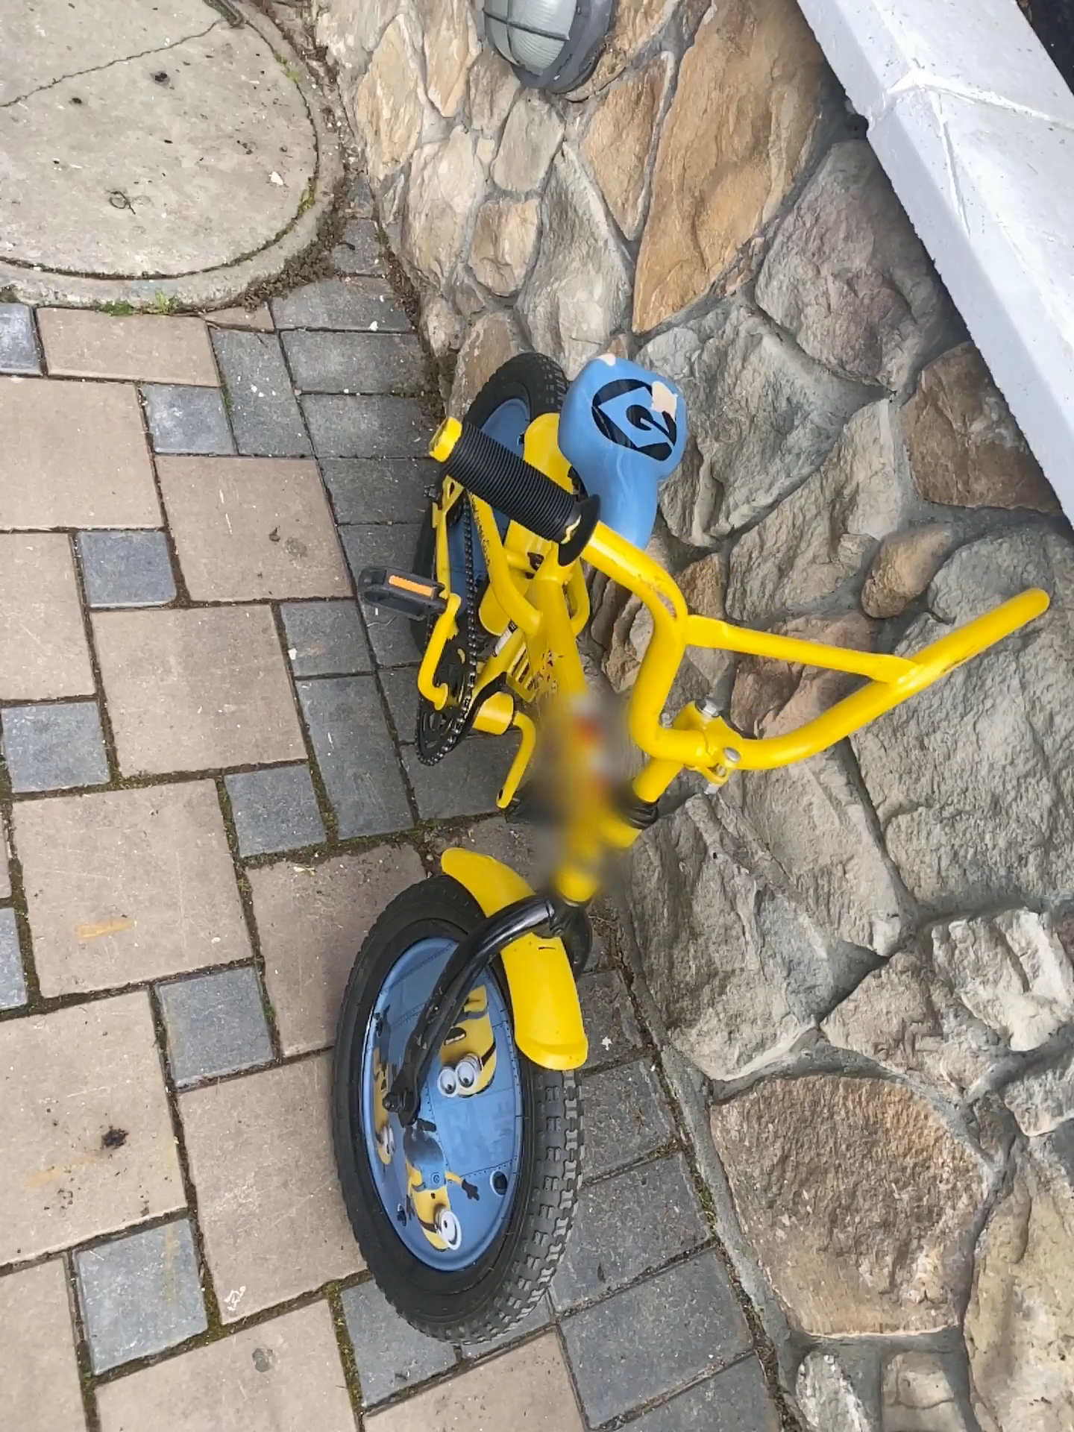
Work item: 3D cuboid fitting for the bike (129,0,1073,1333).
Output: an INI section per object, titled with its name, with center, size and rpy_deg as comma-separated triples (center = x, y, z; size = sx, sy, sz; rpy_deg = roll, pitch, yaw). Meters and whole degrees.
[bike]
center = 0.066, -0.042, 1.033
size = 0.620, 0.735, 1.089
rpy_deg = 12, 56, -23
